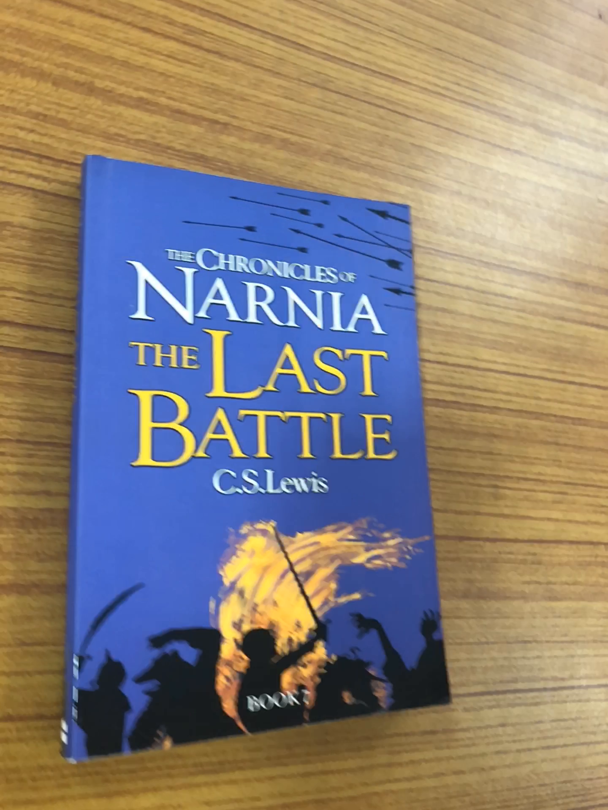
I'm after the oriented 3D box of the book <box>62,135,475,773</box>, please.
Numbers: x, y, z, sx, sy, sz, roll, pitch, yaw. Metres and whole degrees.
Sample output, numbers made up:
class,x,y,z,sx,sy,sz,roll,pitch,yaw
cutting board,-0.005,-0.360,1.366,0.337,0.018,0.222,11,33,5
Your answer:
class,x,y,z,sx,sy,sz,roll,pitch,yaw
book,-0.012,0.012,0.254,0.140,0.030,0.200,3,77,-24
